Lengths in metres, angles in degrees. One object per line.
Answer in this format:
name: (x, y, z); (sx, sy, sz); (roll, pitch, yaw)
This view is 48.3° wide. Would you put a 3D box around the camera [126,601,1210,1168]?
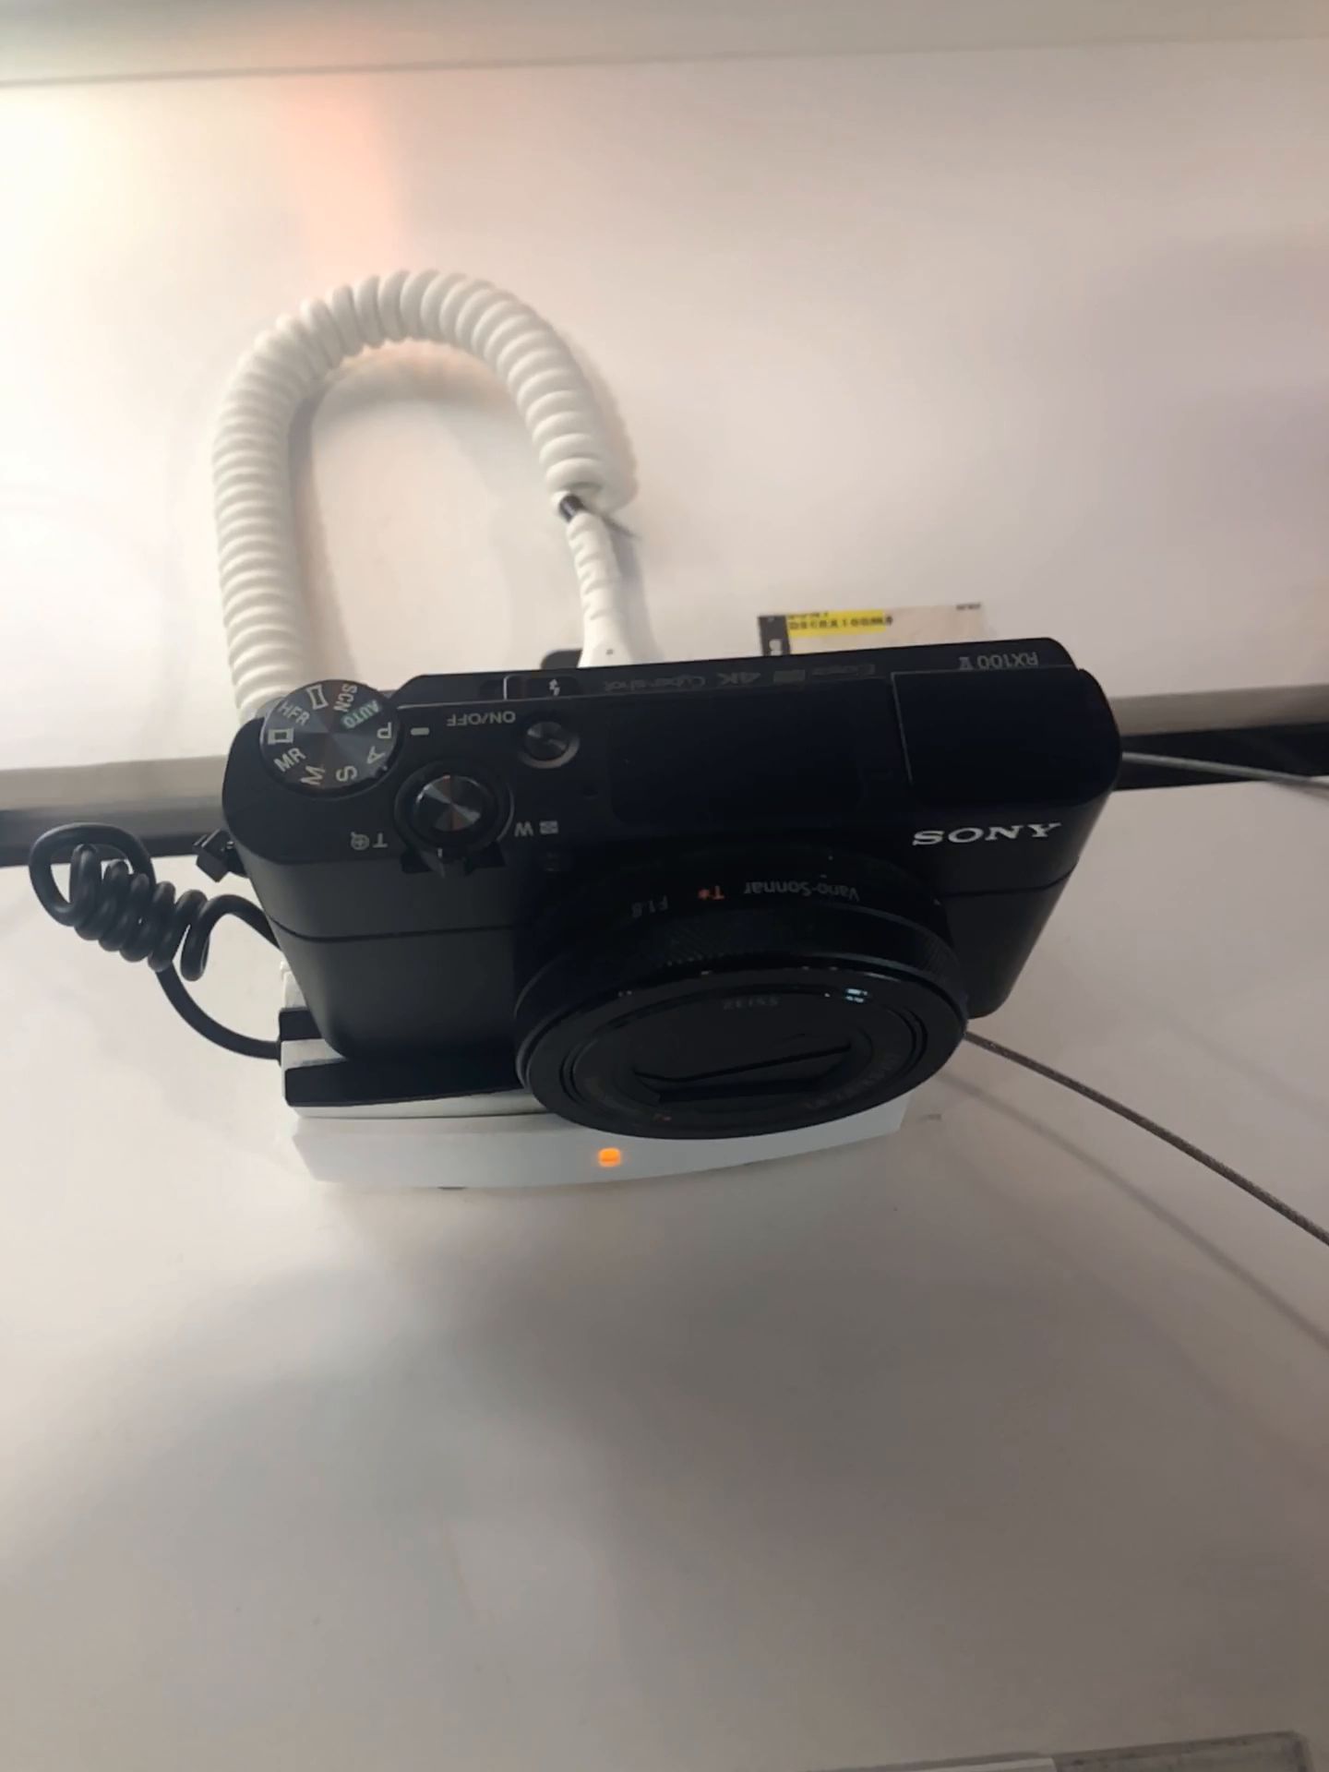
camera: (0.000, 0.003, 0.173); (0.101, 0.063, 0.032); (-4, 60, -2)
